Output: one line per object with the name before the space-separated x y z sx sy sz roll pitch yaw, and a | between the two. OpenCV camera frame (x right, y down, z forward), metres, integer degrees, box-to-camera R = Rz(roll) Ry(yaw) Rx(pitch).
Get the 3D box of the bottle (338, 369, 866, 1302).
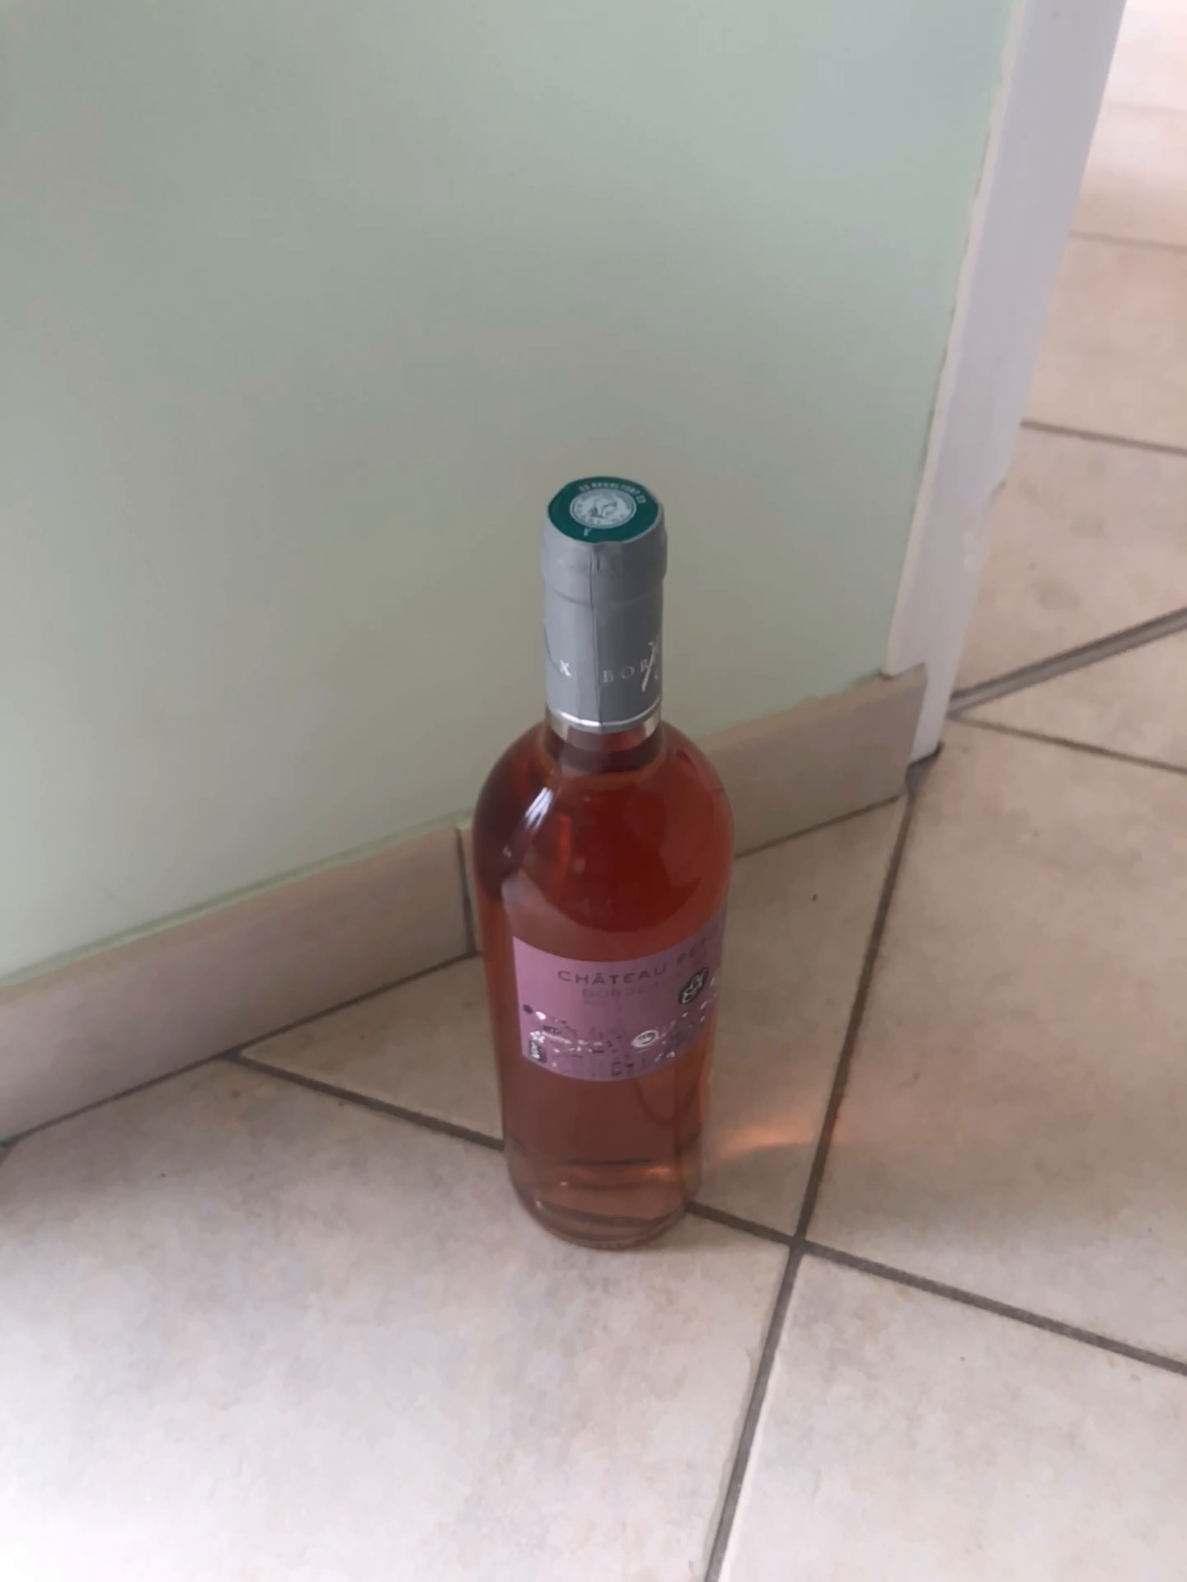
bottle | 0.006 0.036 0.393 0.090 0.288 0.091 0 46 0
